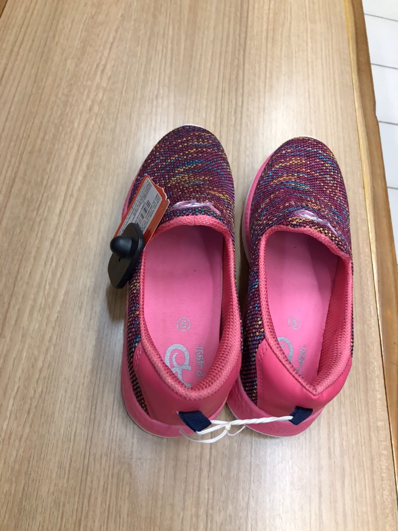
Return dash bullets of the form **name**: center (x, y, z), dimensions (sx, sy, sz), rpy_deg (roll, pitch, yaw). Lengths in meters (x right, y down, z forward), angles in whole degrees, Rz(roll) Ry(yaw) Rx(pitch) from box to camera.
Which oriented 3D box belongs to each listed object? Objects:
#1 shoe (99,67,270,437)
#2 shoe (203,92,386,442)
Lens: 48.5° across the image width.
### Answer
- **shoe**: center (-0.011, -0.010, 0.328), dimensions (0.090, 0.100, 0.251), rpy_deg (4, 66, -7)
- **shoe**: center (0.081, -0.001, 0.370), dimensions (0.100, 0.100, 0.261), rpy_deg (12, 65, -4)
